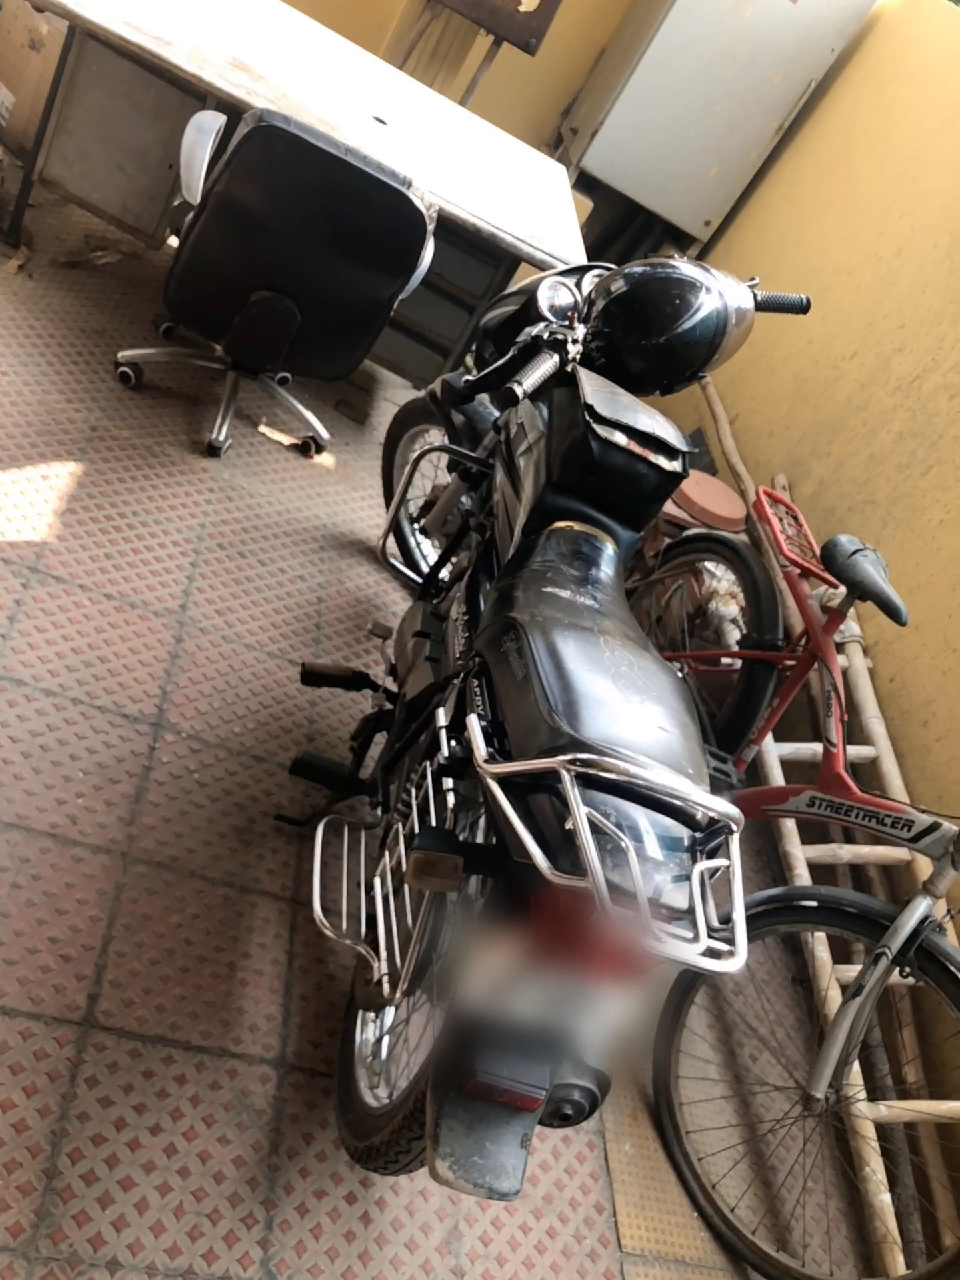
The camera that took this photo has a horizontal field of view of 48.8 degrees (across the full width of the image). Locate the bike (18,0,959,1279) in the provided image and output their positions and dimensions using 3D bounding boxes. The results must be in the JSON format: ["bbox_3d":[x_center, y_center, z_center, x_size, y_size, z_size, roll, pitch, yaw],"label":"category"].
[{"bbox_3d":[-0.060,-0.129,1.674,0.713,1.028,1.622,21,36,-23],"label":"bike"}]
